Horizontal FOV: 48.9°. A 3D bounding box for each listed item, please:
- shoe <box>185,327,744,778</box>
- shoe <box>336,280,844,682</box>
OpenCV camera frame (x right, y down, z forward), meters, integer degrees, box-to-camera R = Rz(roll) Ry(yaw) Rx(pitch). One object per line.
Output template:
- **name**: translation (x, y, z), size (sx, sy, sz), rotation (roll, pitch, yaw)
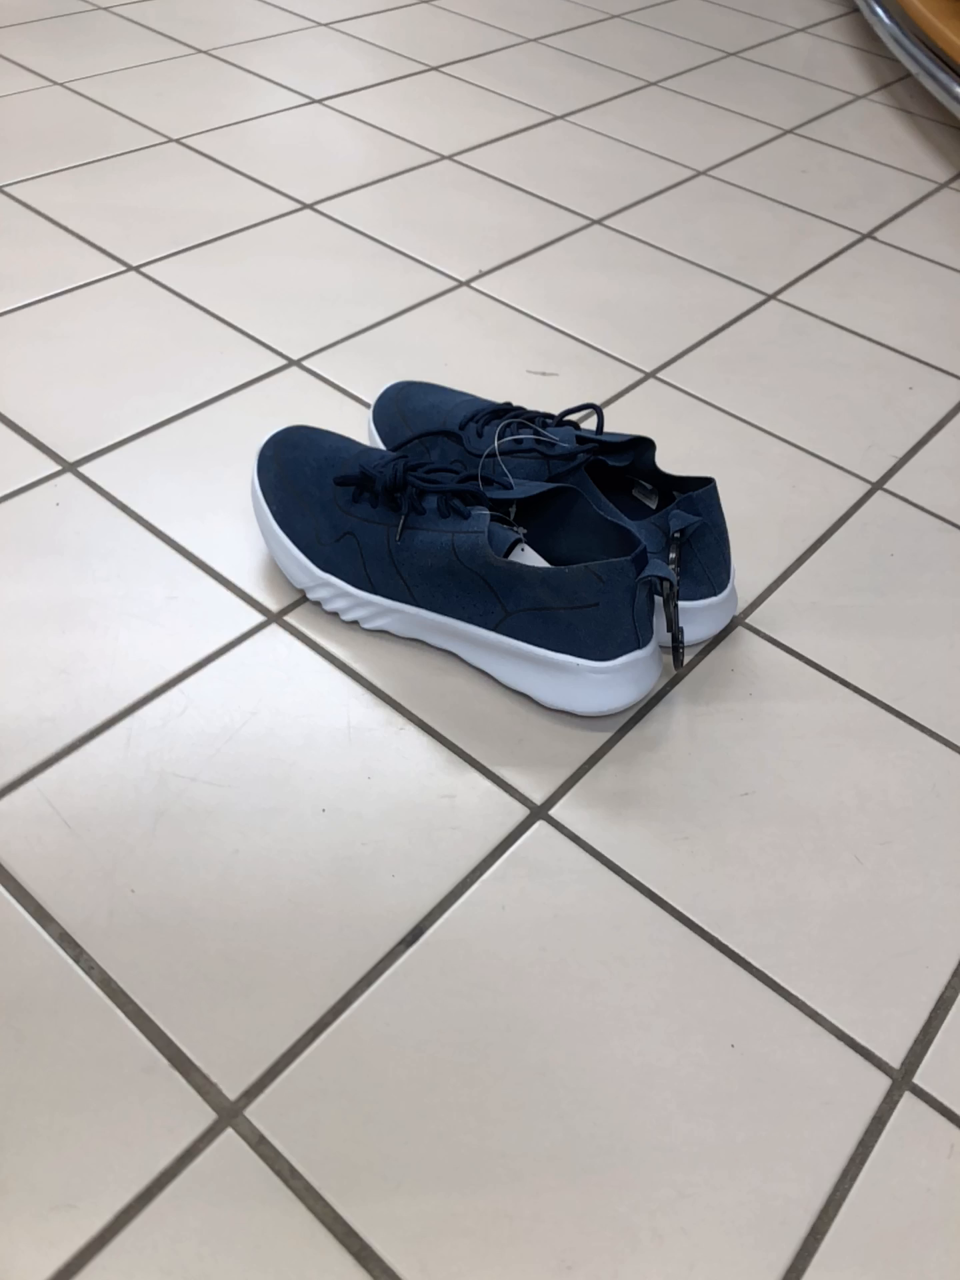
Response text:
- **shoe**: translation (-0.017, -0.058, 0.605), size (0.290, 0.119, 0.101), rotation (26, 48, 19)
- **shoe**: translation (0.055, -0.107, 0.658), size (0.290, 0.109, 0.101), rotation (29, 49, 21)
